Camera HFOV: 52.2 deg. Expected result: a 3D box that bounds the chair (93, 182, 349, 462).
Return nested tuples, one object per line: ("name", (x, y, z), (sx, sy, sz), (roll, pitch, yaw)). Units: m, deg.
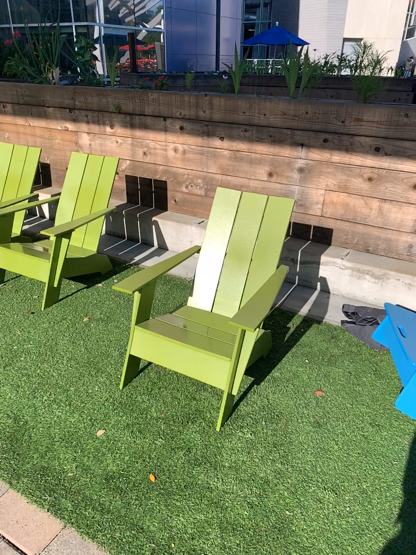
("chair", (0.114, 0.109, 2.235), (0.852, 0.895, 1.003), (16, 31, 27))
